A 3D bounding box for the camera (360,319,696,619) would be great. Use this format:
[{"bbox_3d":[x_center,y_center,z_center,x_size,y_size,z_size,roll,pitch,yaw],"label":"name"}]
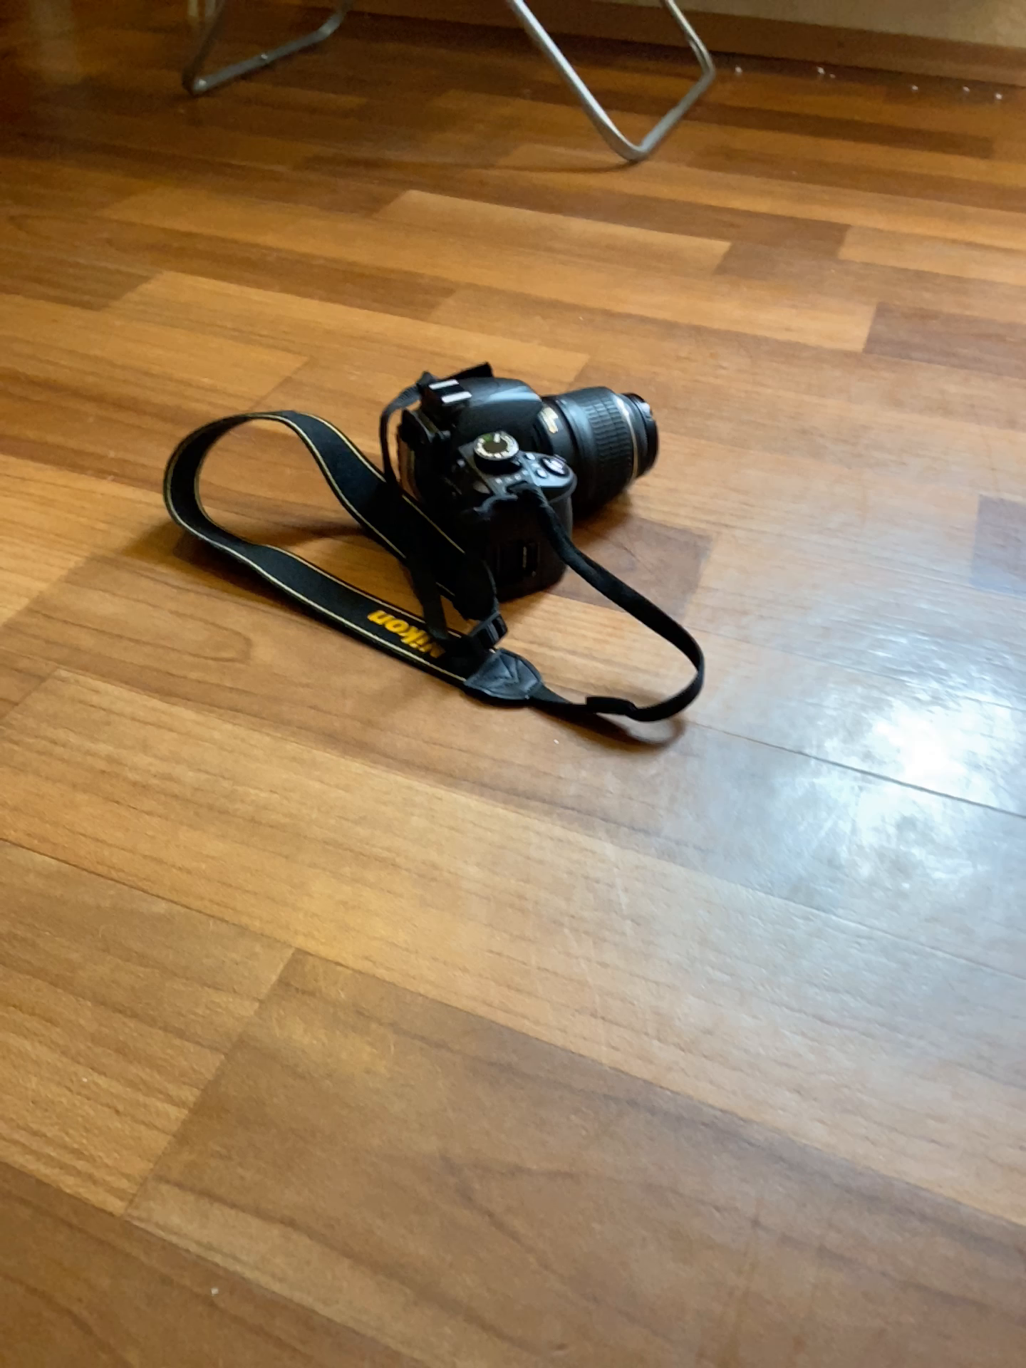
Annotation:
[{"bbox_3d":[0.006,-0.135,0.635,0.153,0.100,0.120,-21,47,-23],"label":"camera"}]
